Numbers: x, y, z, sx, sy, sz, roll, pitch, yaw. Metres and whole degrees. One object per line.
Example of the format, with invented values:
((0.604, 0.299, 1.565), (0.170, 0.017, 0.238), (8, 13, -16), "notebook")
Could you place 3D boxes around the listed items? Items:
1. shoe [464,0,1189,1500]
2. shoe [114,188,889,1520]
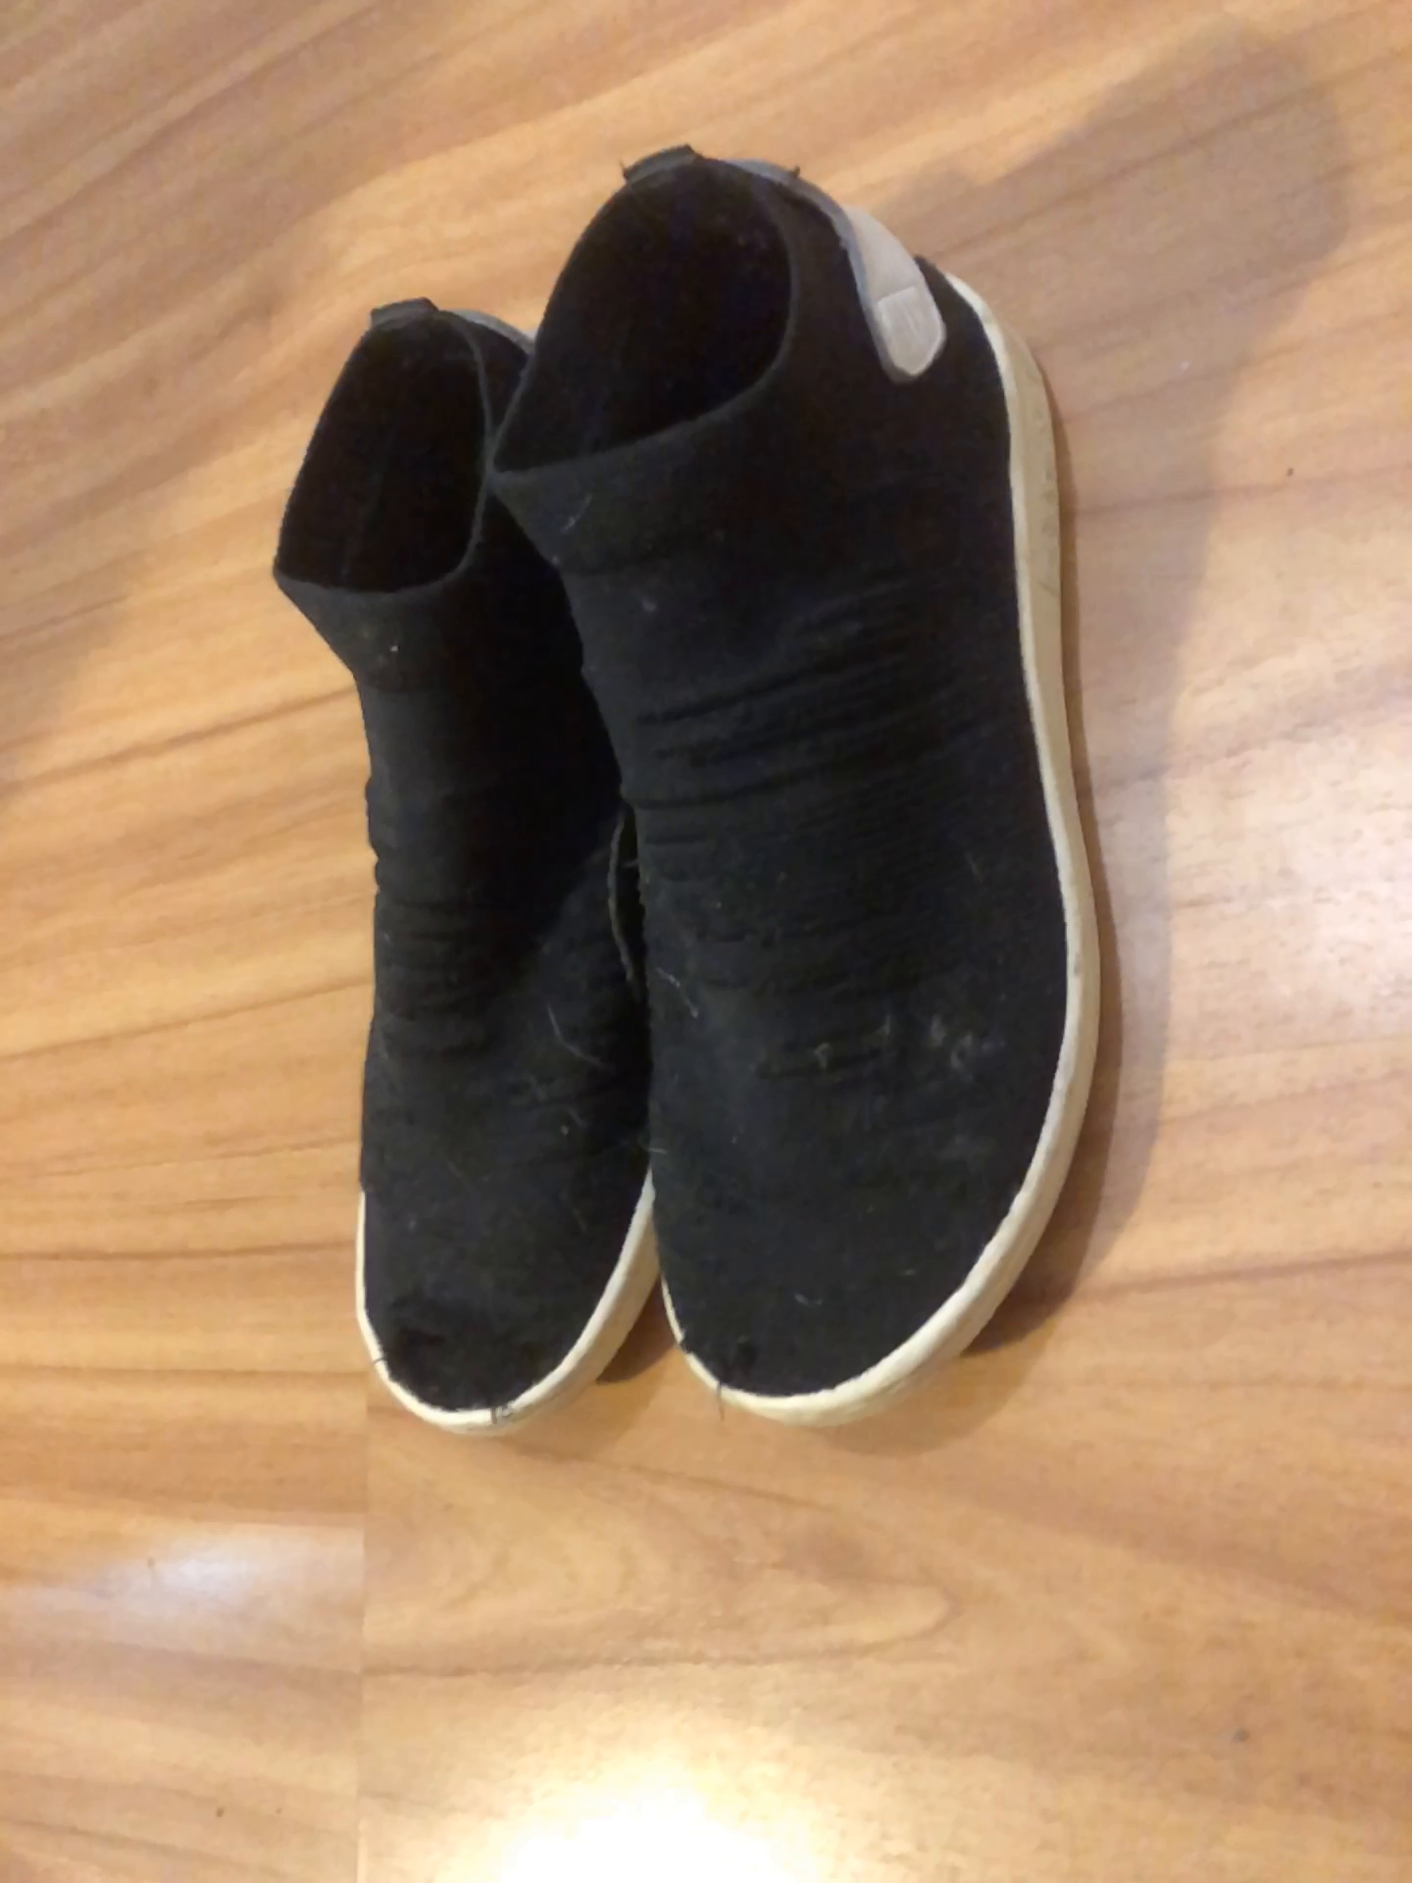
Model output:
((0.030, -0.037, 0.315), (0.100, 0.100, 0.260), (-4, 79, 33), "shoe")
((-0.042, -0.018, 0.368), (0.100, 0.100, 0.260), (5, 84, 34), "shoe")
